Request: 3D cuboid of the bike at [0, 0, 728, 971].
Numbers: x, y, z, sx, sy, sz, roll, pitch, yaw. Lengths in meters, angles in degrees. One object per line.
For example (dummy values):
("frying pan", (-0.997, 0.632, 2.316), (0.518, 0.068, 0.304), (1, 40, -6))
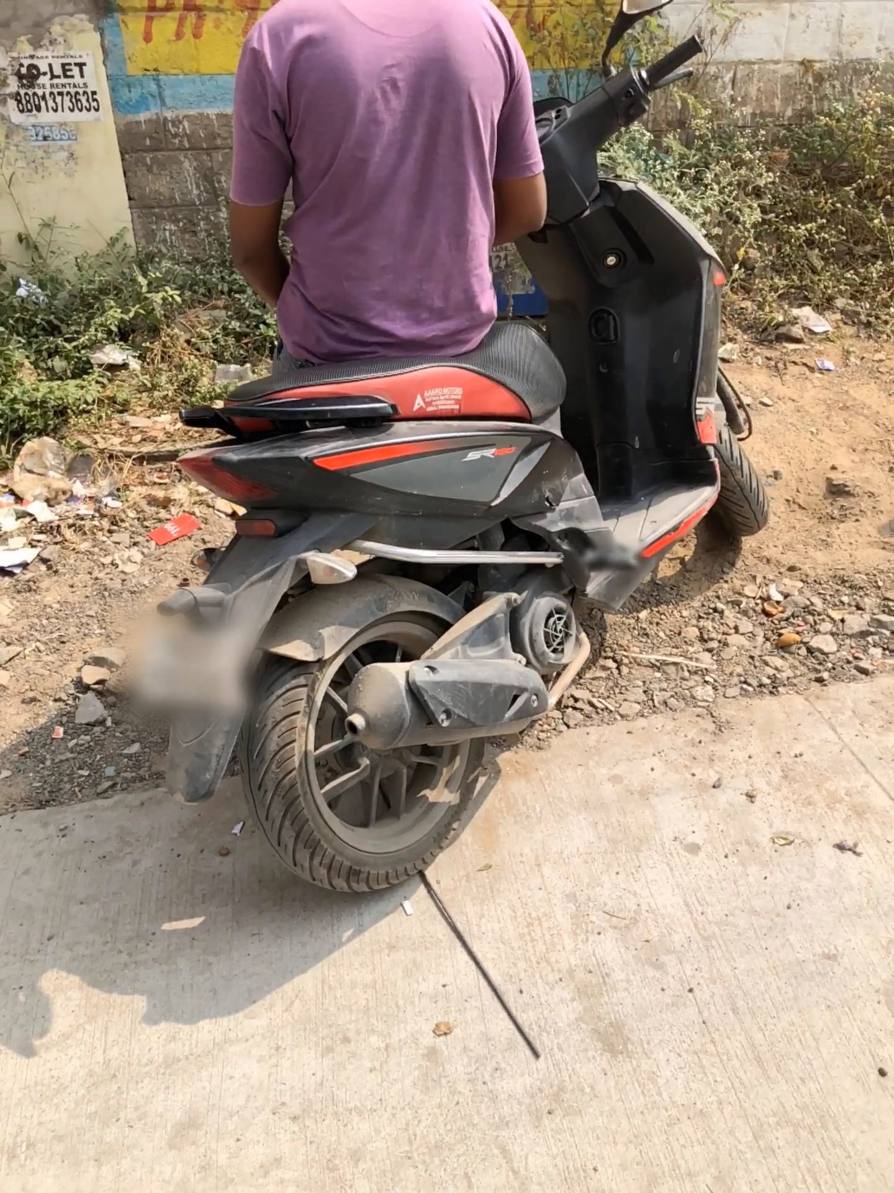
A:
("bike", (-0.066, -0.489, 2.036), (0.717, 1.200, 1.776), (15, 39, 23))
